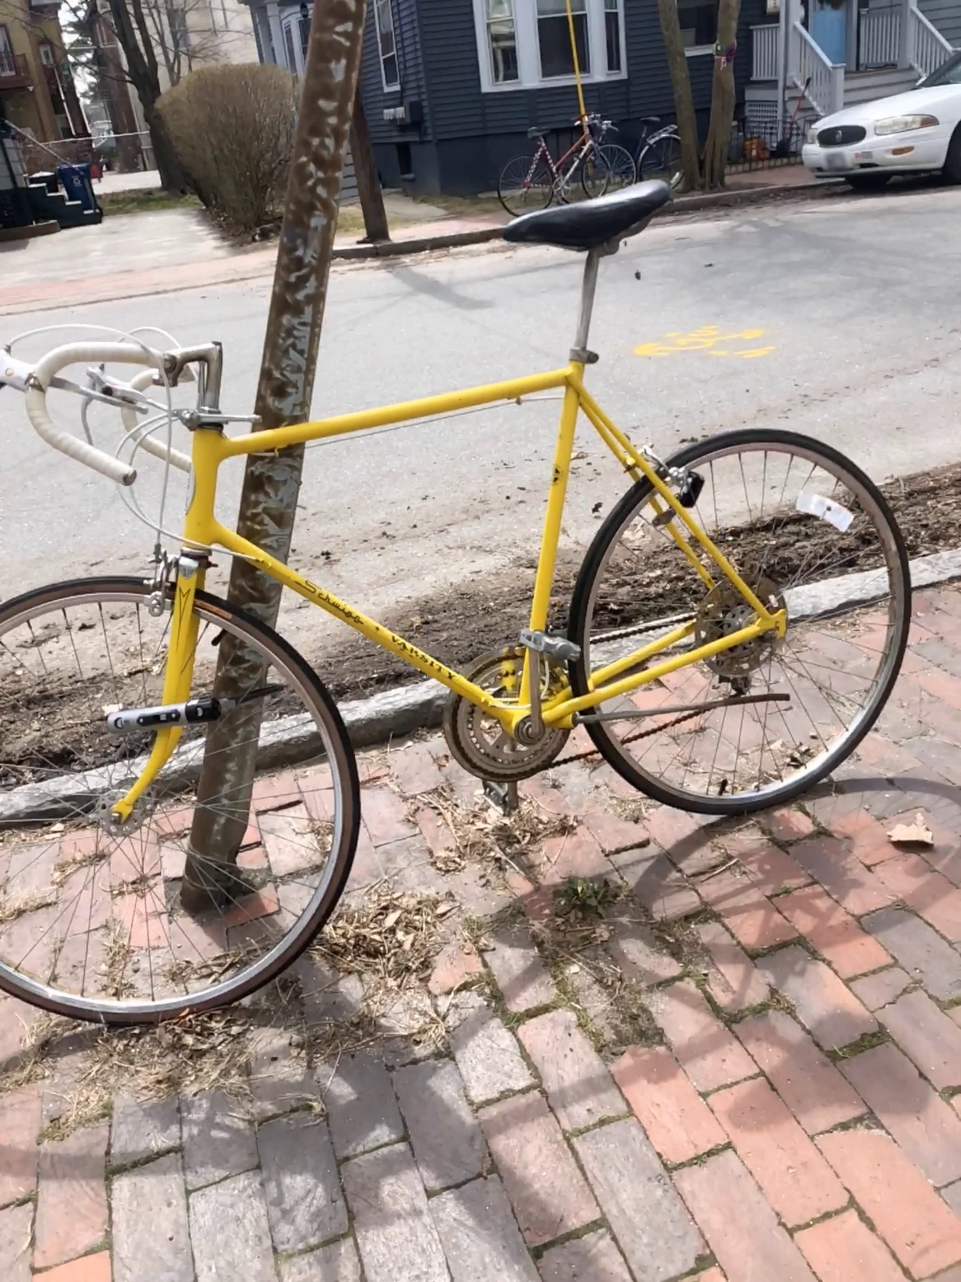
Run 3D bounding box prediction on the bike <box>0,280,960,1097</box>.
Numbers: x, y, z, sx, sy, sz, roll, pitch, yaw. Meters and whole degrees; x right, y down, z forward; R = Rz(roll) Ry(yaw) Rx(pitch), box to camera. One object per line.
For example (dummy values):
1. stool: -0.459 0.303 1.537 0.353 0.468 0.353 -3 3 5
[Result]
1. bike: -0.086 0.005 1.840 1.687 0.804 0.541 -16 27 -10
